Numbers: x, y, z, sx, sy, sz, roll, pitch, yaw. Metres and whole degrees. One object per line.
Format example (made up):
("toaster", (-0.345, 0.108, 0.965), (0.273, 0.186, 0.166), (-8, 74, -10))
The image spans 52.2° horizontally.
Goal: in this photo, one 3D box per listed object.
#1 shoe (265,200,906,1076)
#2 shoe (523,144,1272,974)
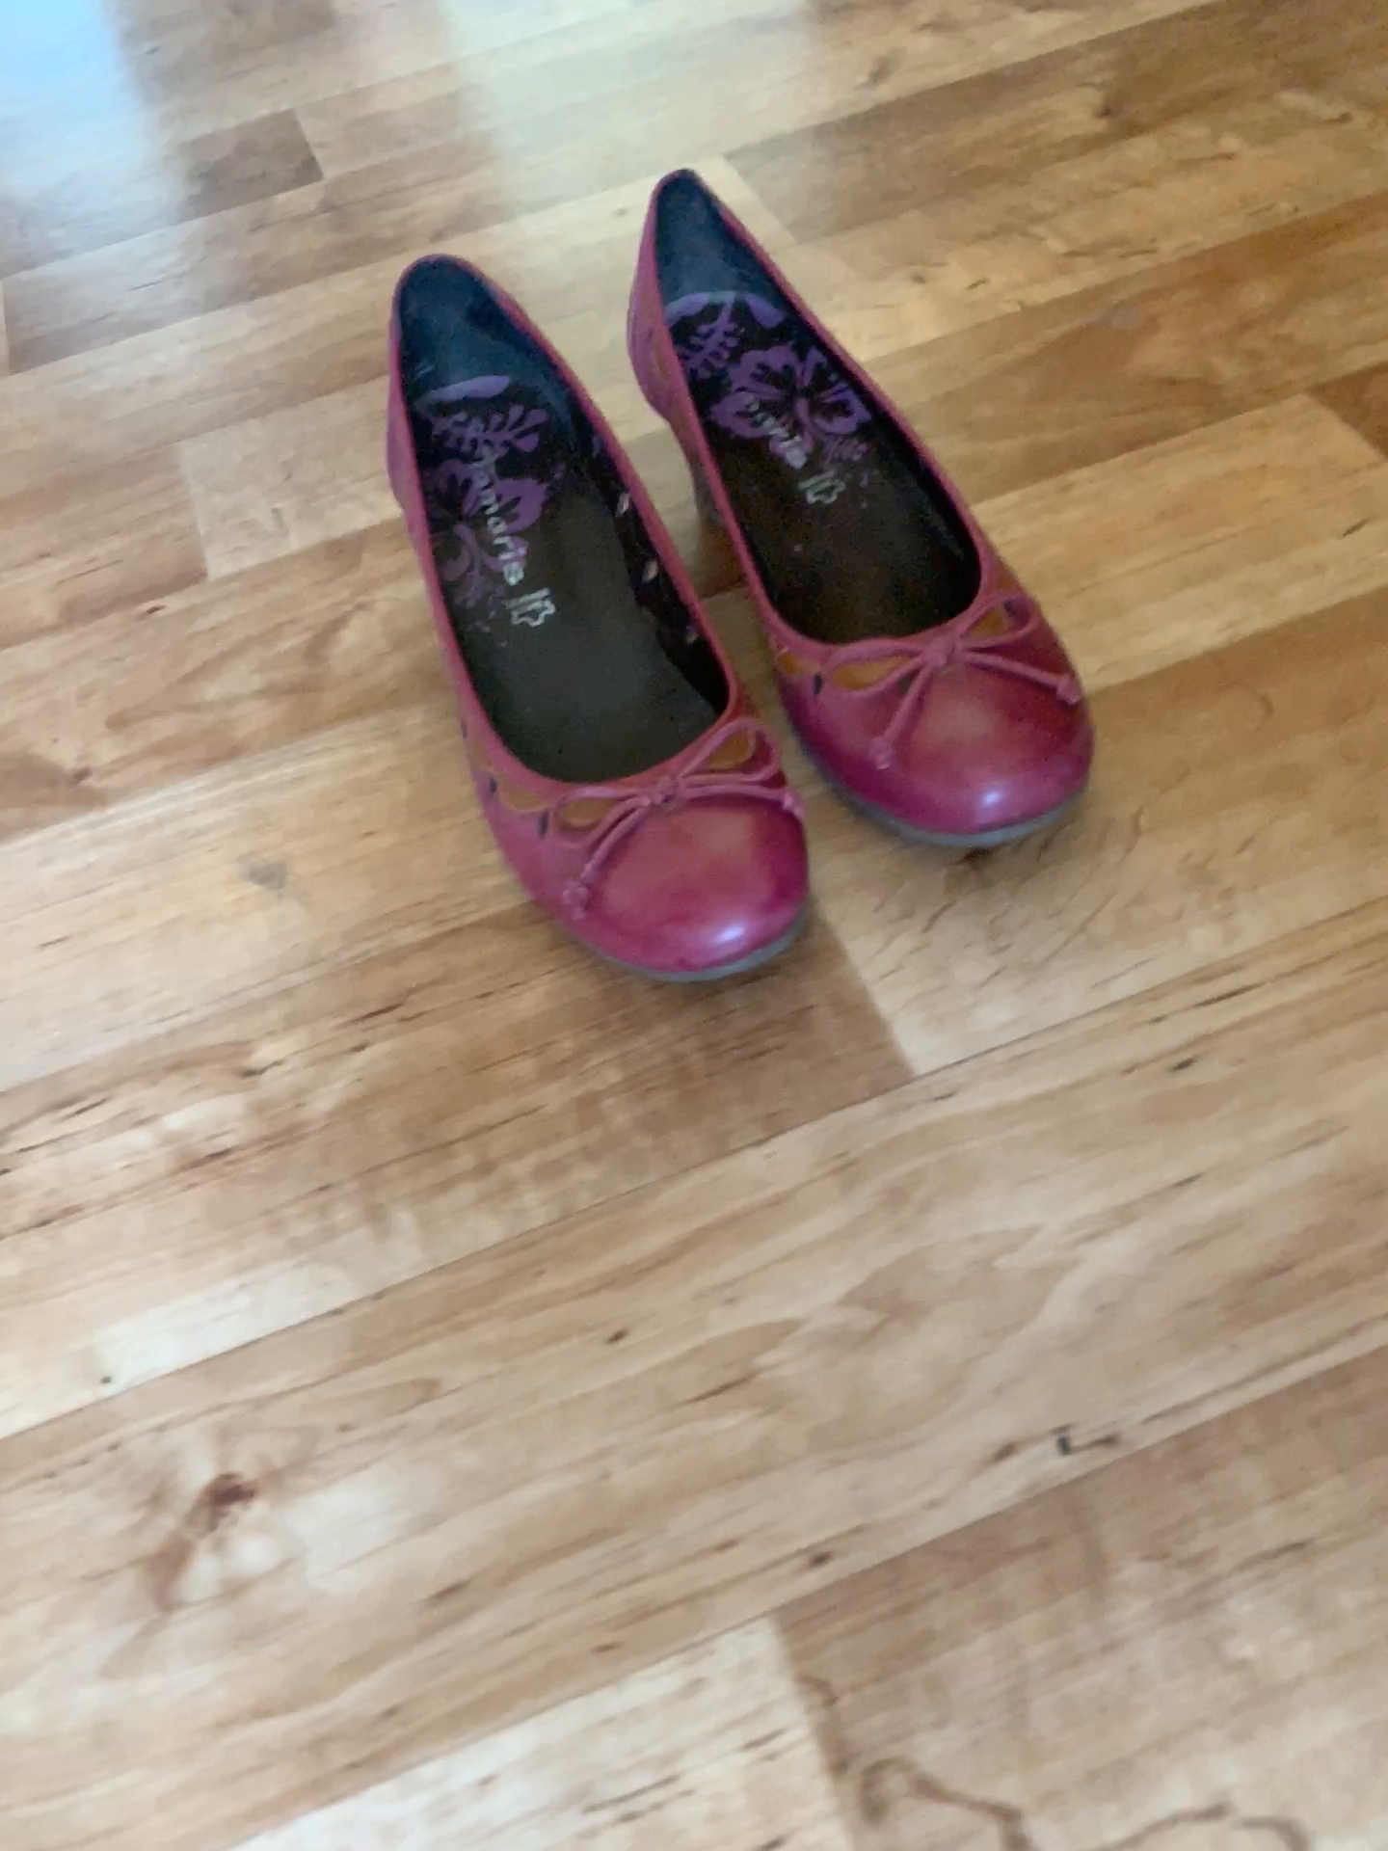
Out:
("shoe", (-0.037, -0.095, 0.409), (0.090, 0.110, 0.241), (-23, 52, -8))
("shoe", (0.044, -0.120, 0.422), (0.090, 0.110, 0.241), (-24, 52, -10))
